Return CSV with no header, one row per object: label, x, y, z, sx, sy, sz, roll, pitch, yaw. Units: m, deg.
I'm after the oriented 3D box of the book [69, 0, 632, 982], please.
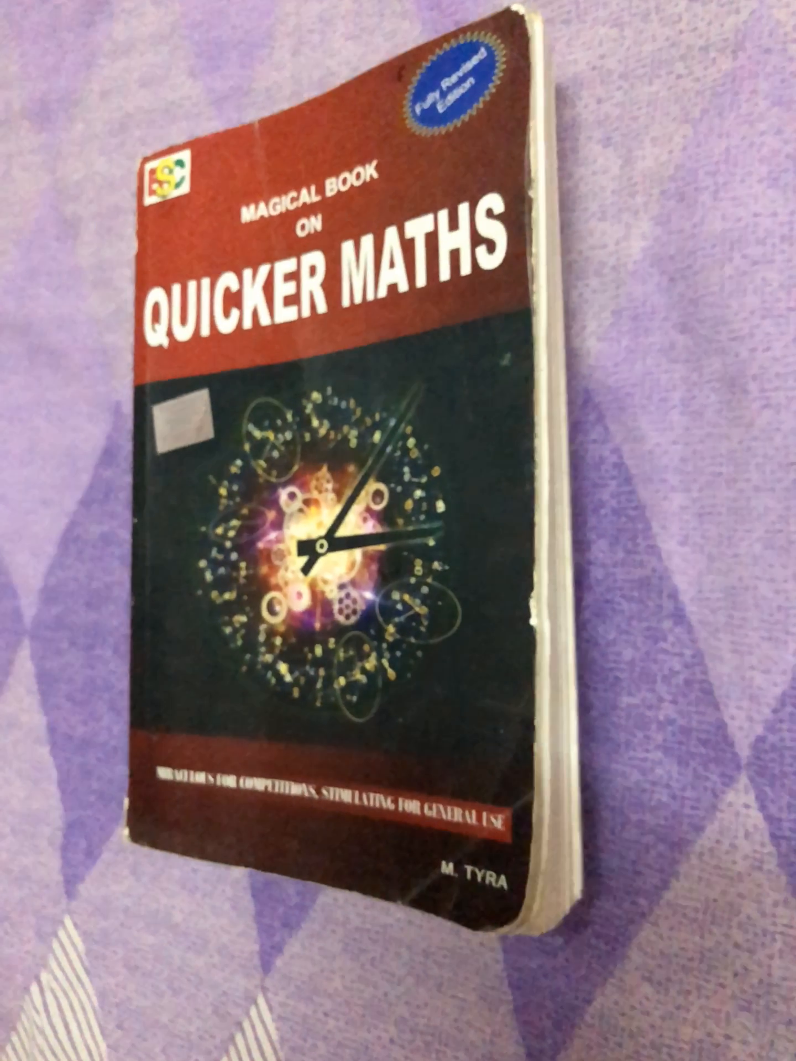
book,-0.019,-0.014,0.251,0.150,0.050,0.220,-4,84,33
